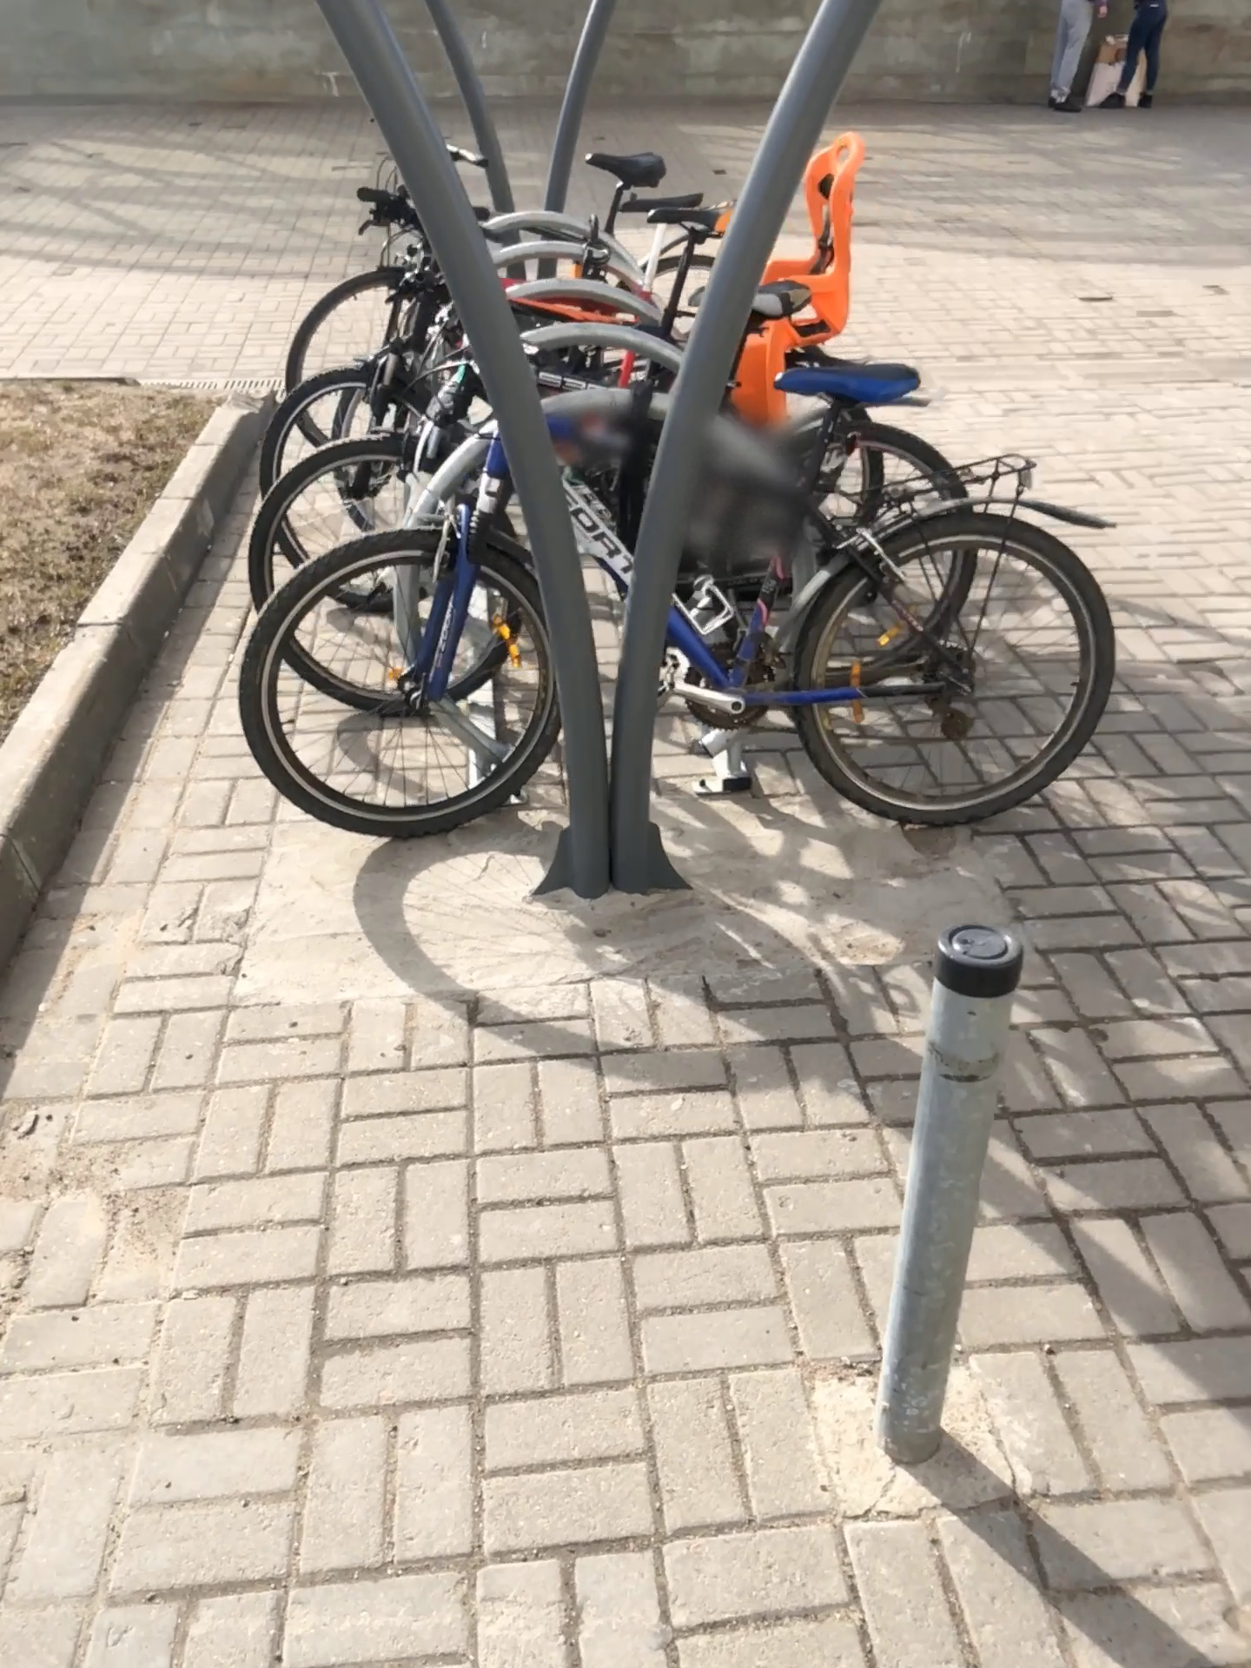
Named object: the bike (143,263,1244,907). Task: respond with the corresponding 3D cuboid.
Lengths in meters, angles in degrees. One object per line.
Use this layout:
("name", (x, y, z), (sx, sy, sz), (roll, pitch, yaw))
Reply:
("bike", (0.128, -0.482, 2.558), (1.658, 0.959, 0.630), (-2, 33, -7))
